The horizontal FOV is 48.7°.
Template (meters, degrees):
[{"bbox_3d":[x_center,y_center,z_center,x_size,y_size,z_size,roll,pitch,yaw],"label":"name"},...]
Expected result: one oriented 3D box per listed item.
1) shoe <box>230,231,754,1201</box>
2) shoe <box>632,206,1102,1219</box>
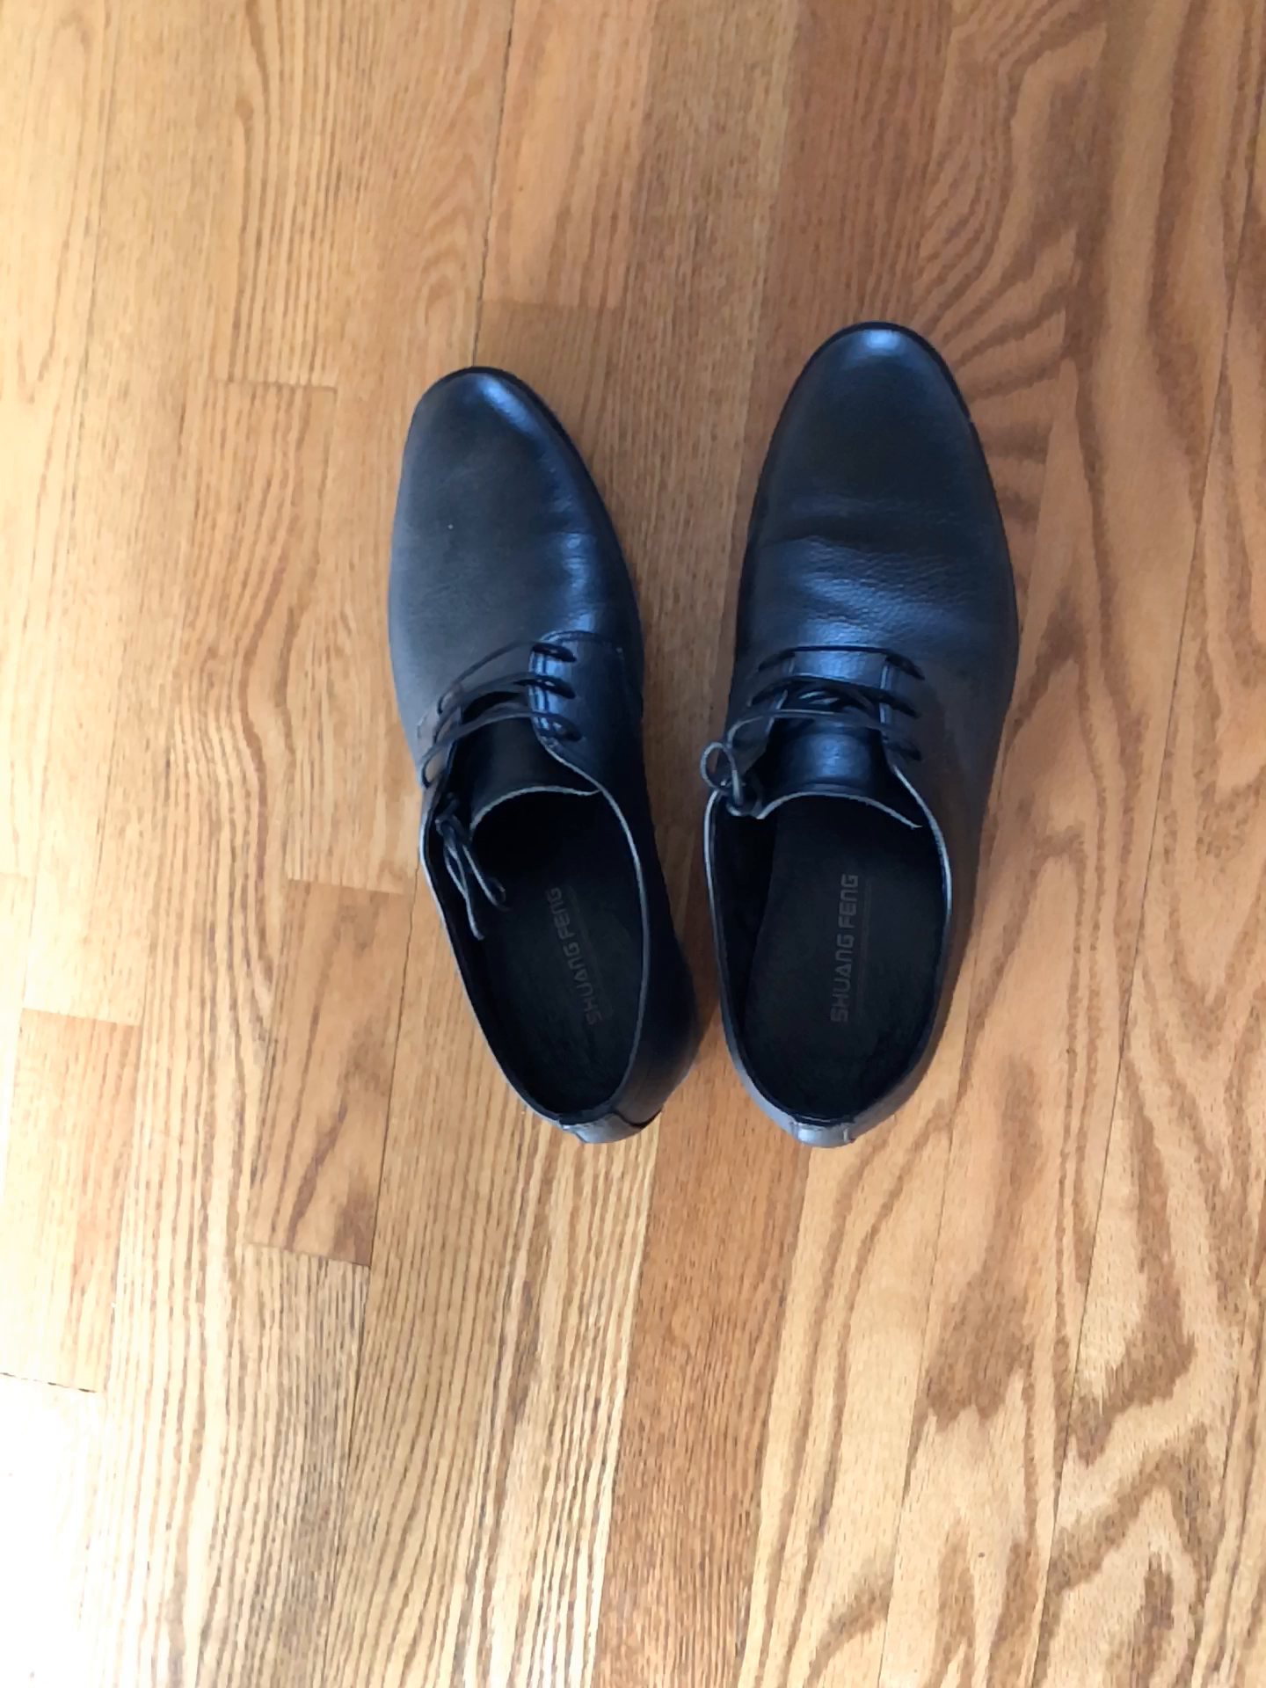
[{"bbox_3d":[-0.044,-0.041,0.522,0.110,0.124,0.304,-11,88,11],"label":"shoe"},{"bbox_3d":[0.080,-0.043,0.486,0.110,0.124,0.299,6,92,11],"label":"shoe"}]
